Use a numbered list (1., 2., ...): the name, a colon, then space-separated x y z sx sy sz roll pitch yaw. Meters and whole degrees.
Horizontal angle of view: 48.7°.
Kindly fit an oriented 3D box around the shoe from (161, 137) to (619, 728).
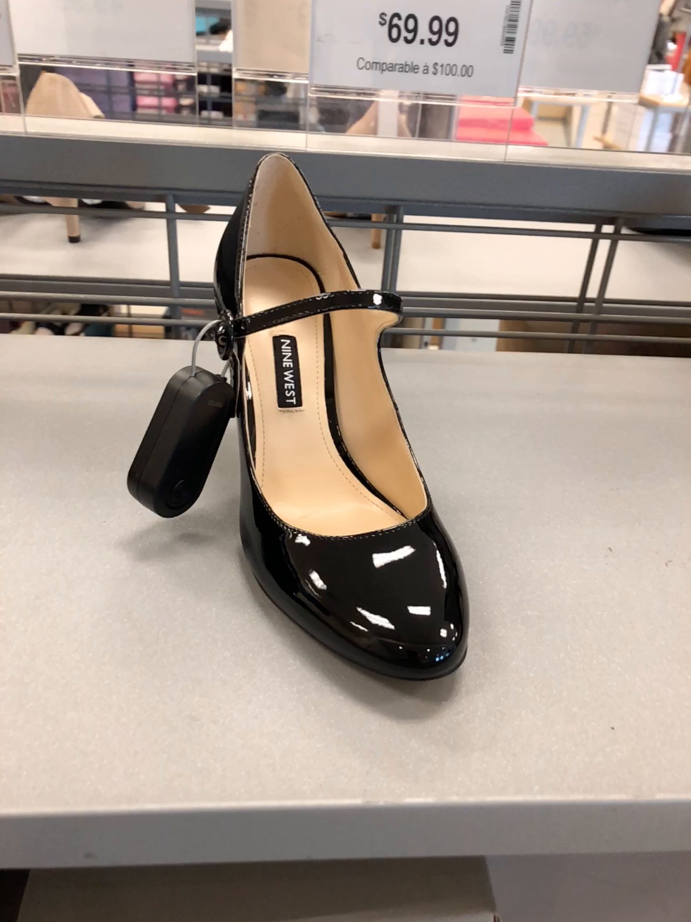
1. shoe: -0.013 -0.042 0.349 0.090 0.151 0.258 -8 35 -20
